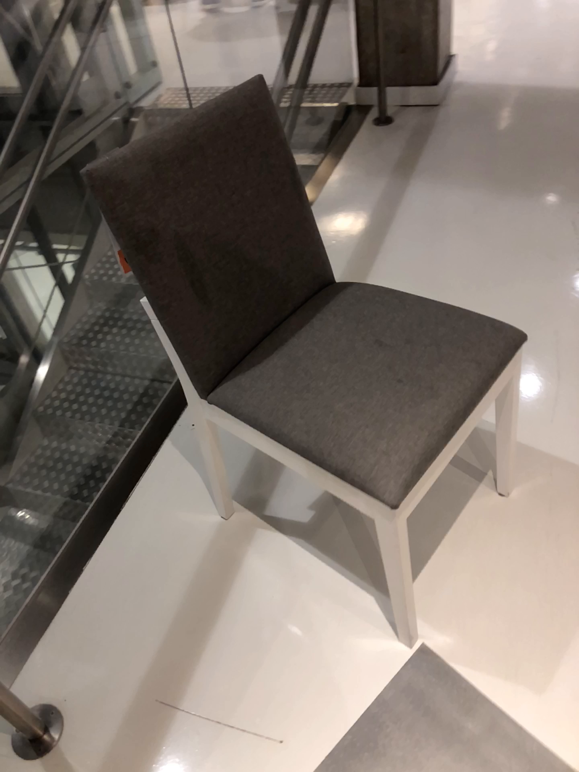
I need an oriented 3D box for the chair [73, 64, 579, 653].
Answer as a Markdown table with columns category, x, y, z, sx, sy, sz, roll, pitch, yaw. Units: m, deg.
| category | x | y | z | sx | sy | sz | roll | pitch | yaw |
| --- | --- | --- | --- | --- | --- | --- | --- | --- | --- |
| chair | 0.109 | -0.046 | 1.183 | 0.562 | 0.844 | 0.482 | 25 | 53 | 33 |
